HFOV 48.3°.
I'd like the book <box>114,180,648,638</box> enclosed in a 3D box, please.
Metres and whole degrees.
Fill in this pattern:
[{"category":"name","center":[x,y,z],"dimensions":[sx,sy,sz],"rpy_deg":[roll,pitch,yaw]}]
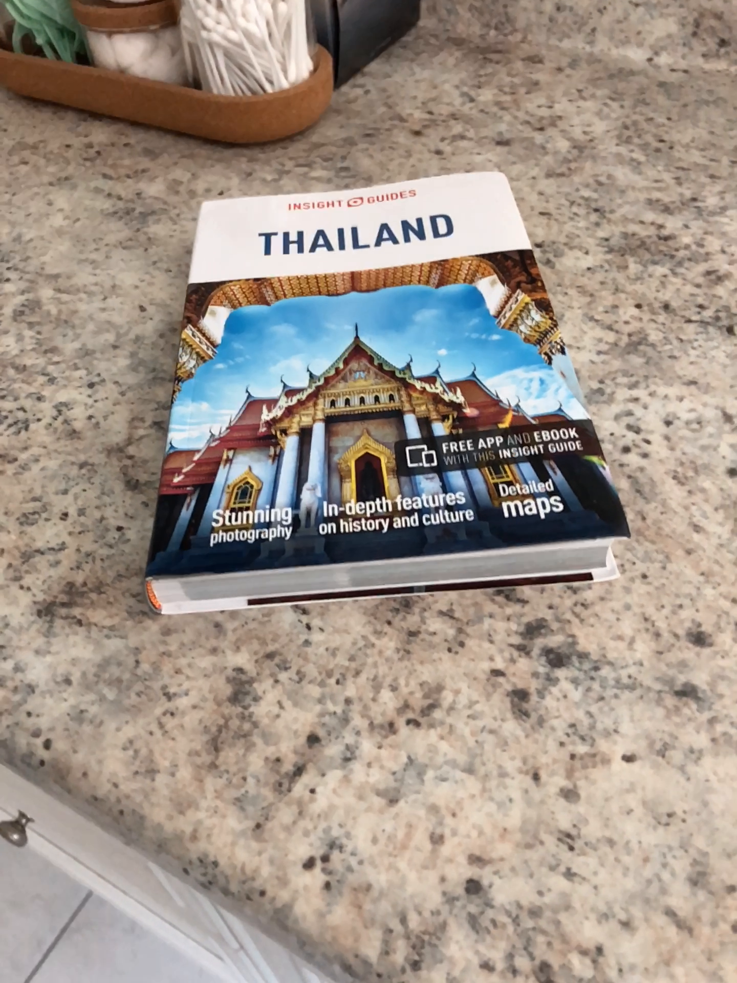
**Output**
[{"category":"book","center":[-0.002,-0.055,0.346],"dimensions":[0.164,0.030,0.241],"rpy_deg":[-5,46,1]}]
